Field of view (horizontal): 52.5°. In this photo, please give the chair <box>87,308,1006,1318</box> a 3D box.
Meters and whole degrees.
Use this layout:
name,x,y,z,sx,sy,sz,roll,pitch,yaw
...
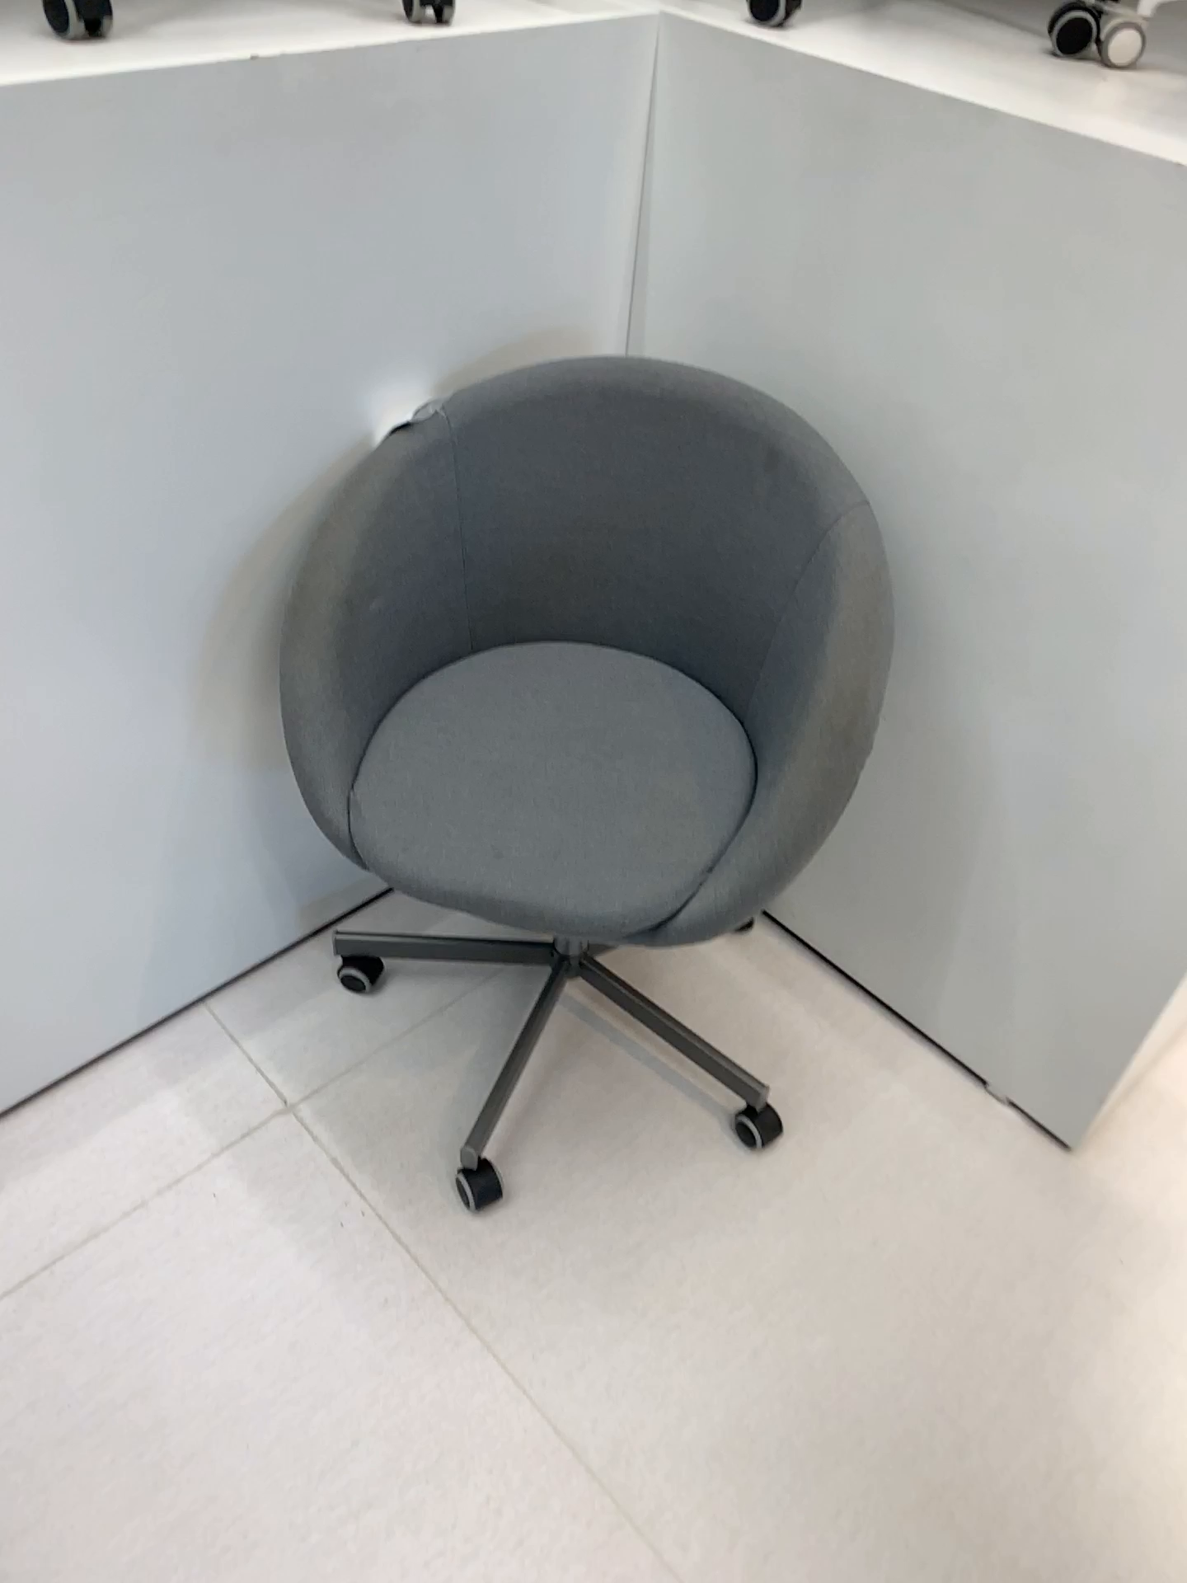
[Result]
name,x,y,z,sx,sy,sz,roll,pitch,yaw
chair,-0.004,0.009,1.482,0.730,0.827,0.713,15,43,10
